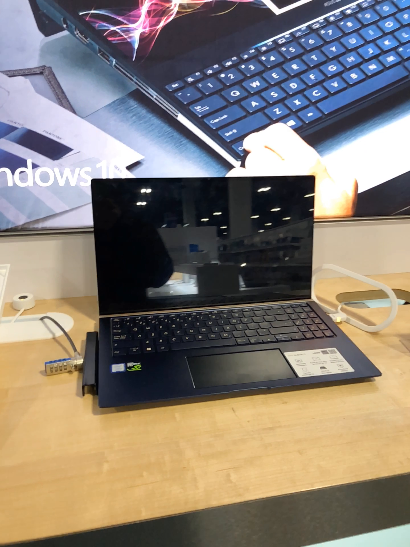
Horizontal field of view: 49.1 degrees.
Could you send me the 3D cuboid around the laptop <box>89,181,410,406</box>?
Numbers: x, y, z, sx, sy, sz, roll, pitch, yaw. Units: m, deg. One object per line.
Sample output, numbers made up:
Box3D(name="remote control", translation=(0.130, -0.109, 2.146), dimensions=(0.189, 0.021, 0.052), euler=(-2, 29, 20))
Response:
Box3D(name="laptop", translation=(0.031, -0.001, 0.603), dimensions=(0.336, 0.196, 0.250), euler=(-3, 22, -10))
